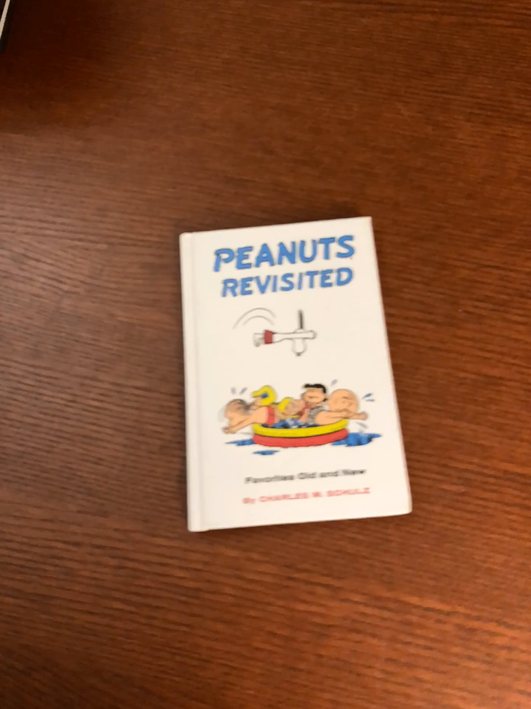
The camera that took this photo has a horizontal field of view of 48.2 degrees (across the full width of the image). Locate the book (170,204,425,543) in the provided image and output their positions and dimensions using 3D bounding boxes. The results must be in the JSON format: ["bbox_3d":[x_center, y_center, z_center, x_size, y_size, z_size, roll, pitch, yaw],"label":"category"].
[{"bbox_3d":[0.014,0.007,0.401,0.150,0.020,0.220,-5,72,3],"label":"book"}]
